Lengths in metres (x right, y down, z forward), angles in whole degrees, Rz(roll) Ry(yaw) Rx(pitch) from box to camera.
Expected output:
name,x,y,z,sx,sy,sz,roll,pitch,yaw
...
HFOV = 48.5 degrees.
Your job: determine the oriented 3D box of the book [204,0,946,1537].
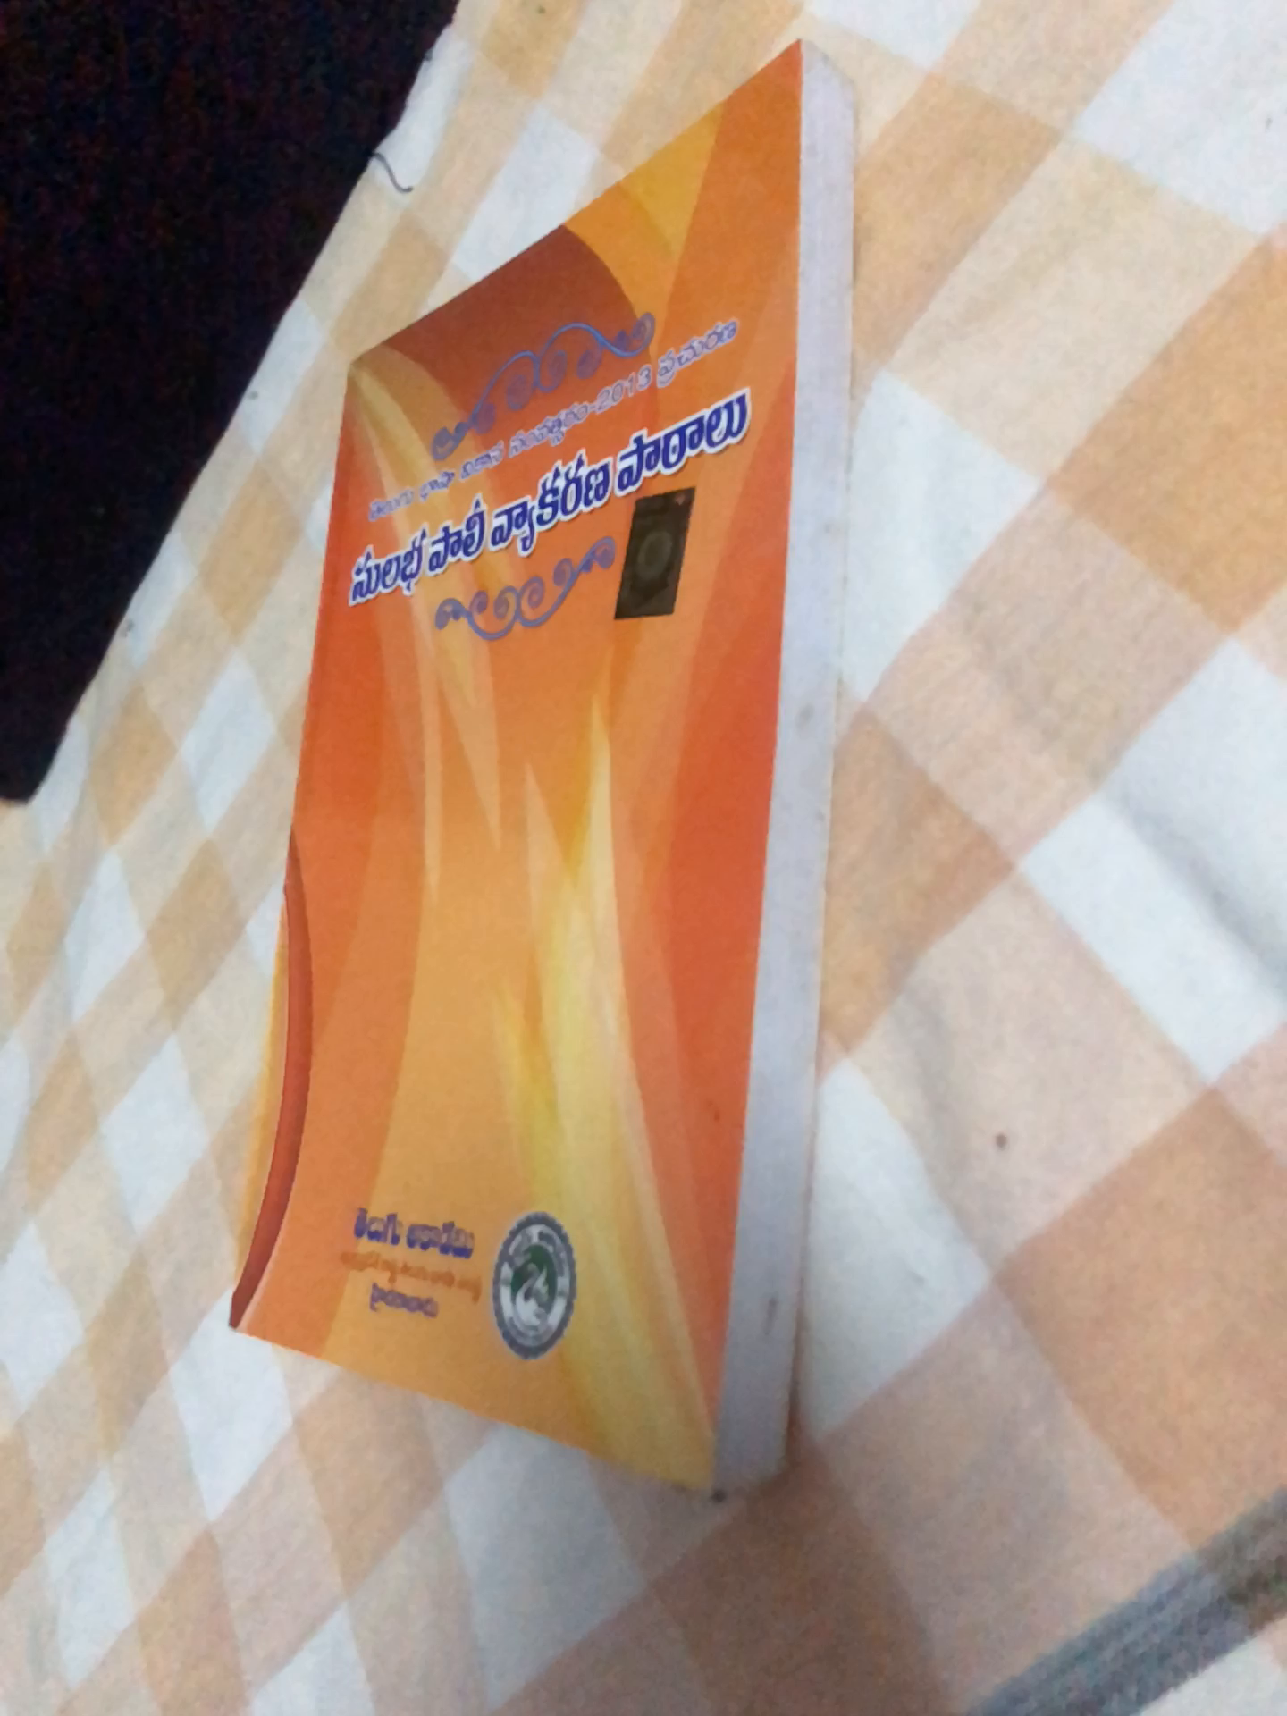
name,x,y,z,sx,sy,sz,roll,pitch,yaw
book,-0.018,-0.016,0.244,0.140,0.020,0.210,-7,74,46
